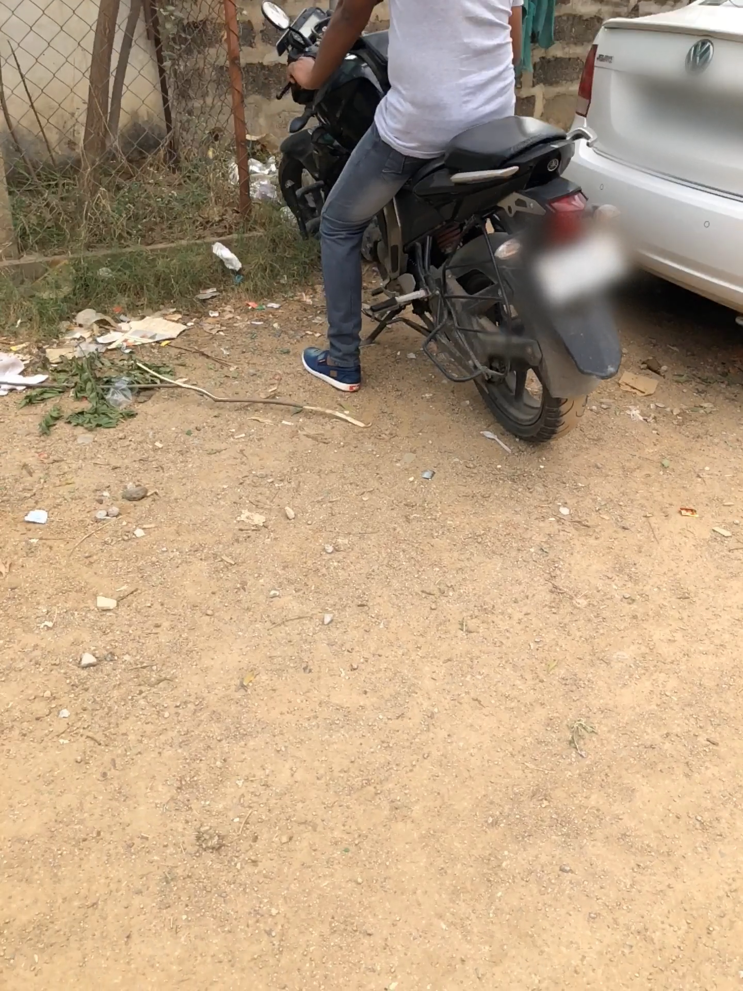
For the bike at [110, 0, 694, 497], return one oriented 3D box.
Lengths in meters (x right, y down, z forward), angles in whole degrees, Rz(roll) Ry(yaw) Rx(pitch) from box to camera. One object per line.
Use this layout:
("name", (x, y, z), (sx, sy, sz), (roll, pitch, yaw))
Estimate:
("bike", (-0.076, -0.997, 2.209), (0.528, 1.094, 1.623), (-19, 44, -27))
